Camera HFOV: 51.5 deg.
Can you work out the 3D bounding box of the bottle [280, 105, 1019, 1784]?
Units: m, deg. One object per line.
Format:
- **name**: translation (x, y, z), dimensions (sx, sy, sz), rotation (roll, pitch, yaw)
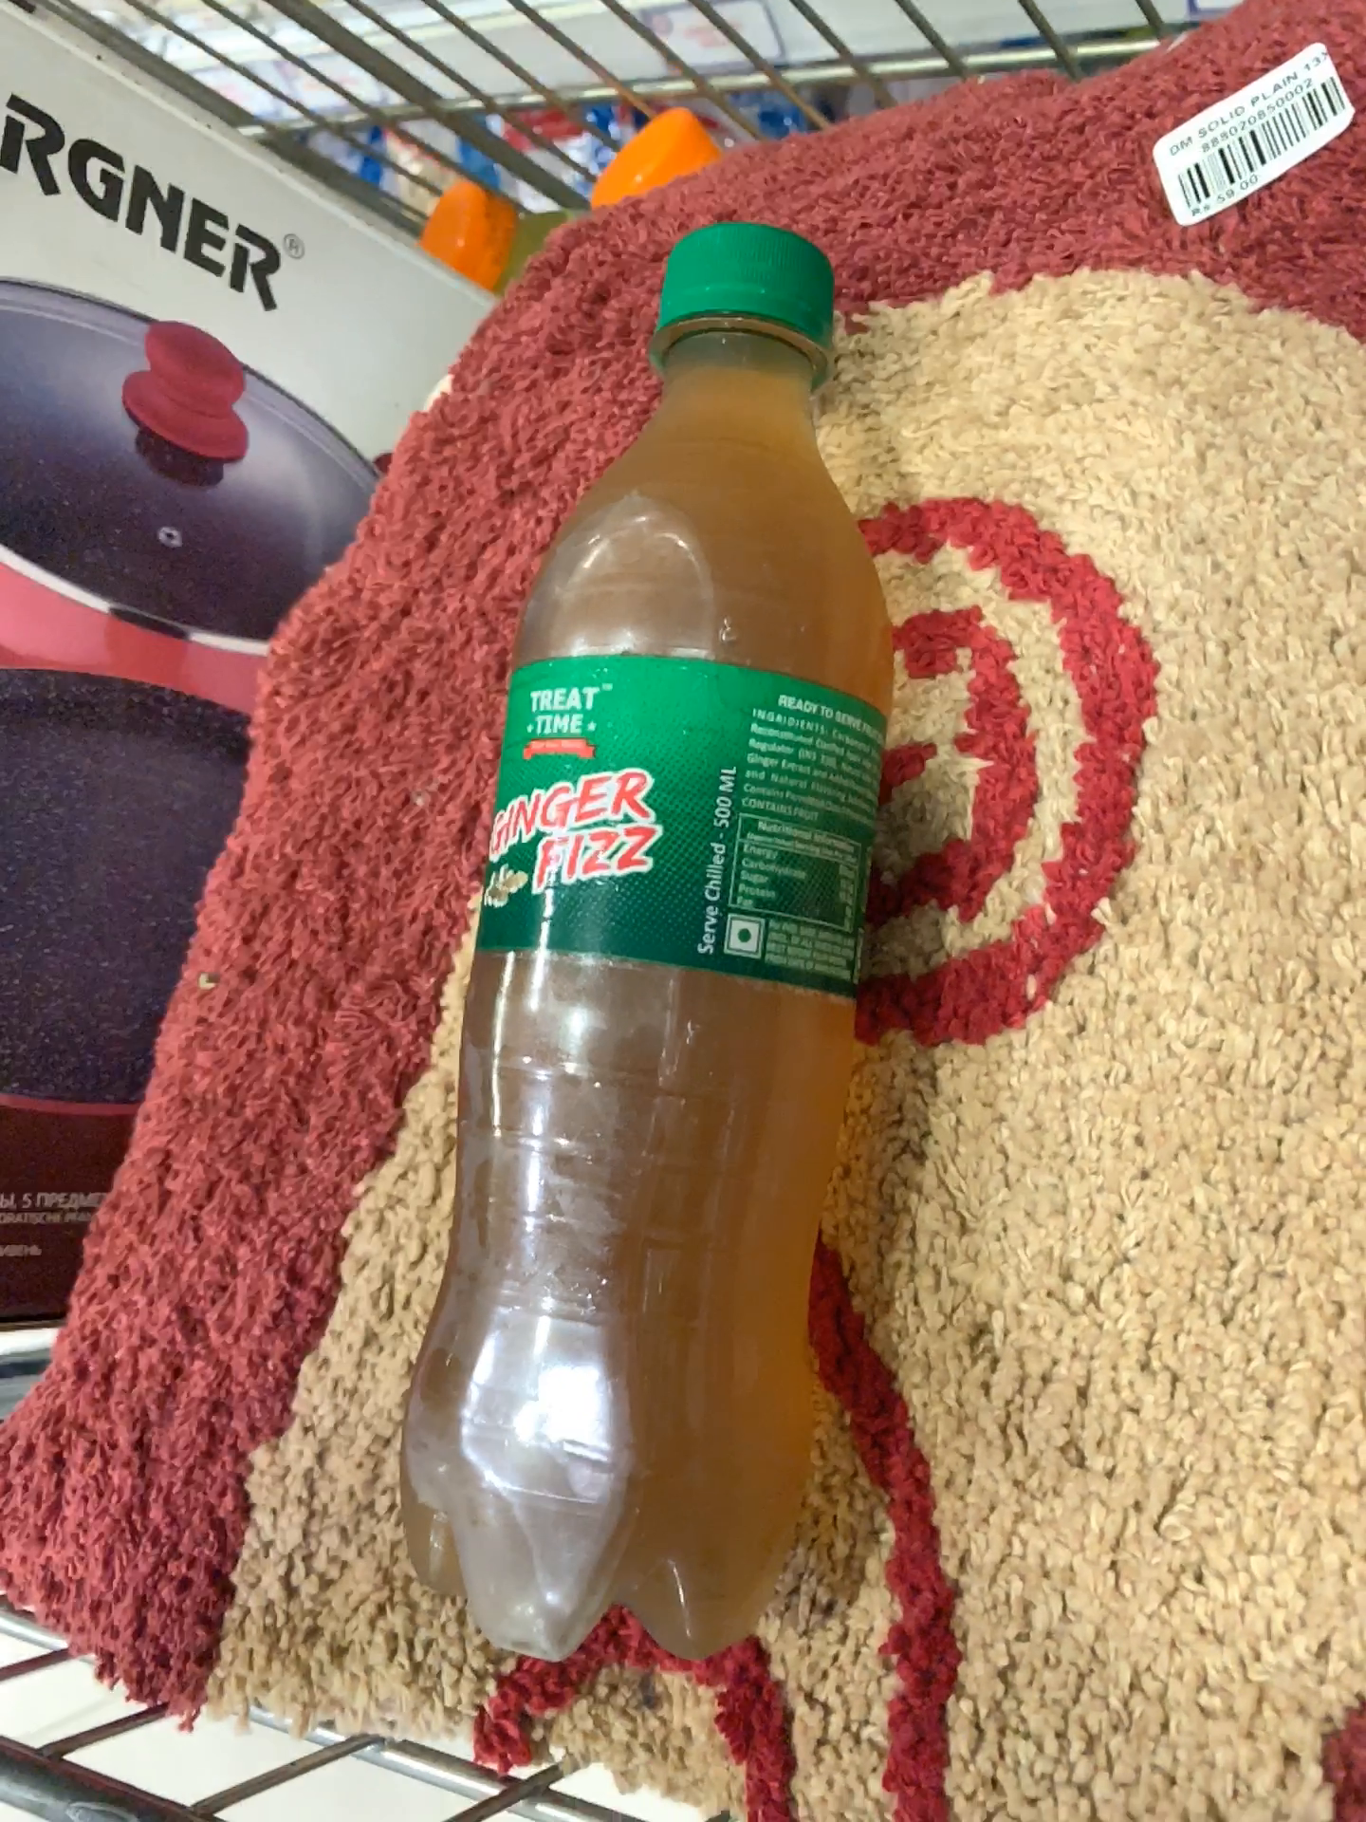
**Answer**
- **bottle**: translation (-0.001, 0.002, 0.233), dimensions (0.070, 0.070, 0.220), rotation (5, 86, 33)
